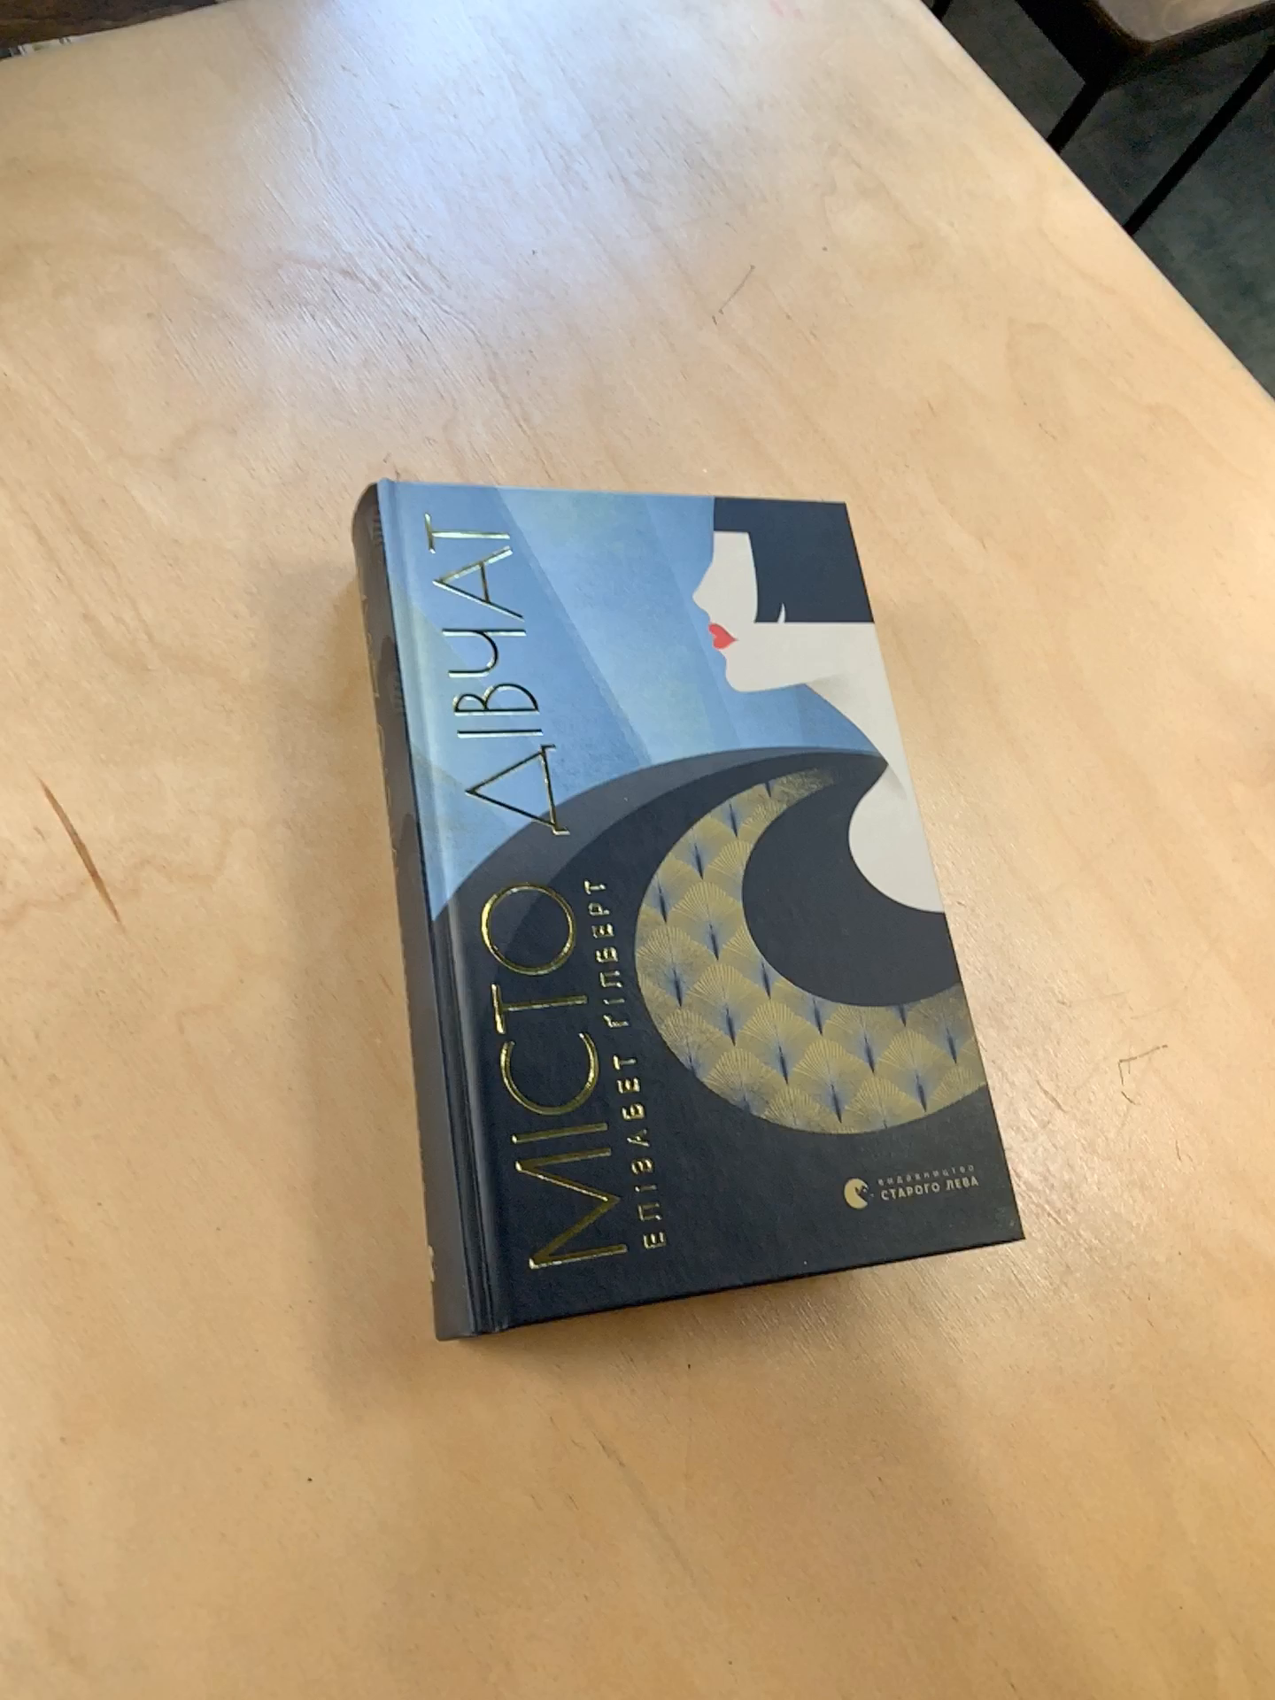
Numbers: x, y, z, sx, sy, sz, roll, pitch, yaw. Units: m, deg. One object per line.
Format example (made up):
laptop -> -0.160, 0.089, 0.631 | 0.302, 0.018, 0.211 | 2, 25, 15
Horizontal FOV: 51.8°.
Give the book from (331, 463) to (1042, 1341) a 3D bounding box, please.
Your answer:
book -> 0.005, 0.004, 0.322 | 0.134, 0.043, 0.197 | -4, 73, -19
